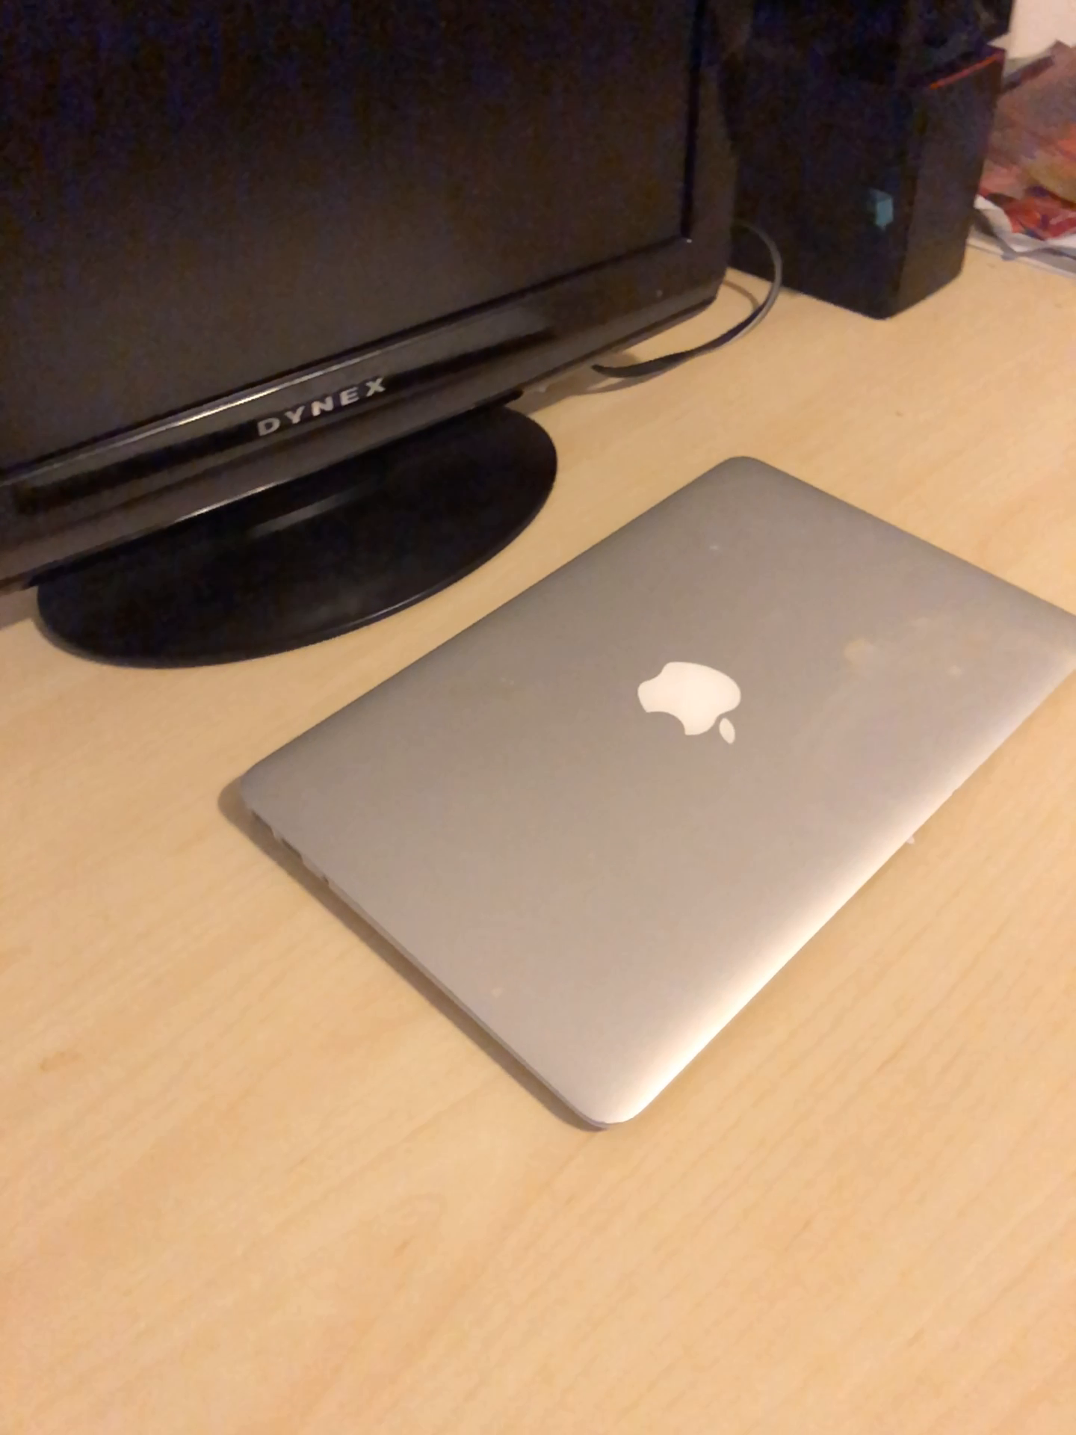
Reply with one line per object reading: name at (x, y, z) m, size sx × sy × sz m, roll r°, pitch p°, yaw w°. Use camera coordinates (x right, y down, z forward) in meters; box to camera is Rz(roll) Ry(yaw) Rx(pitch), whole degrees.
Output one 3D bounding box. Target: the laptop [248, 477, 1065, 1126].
laptop at (0.055, 0.001, 0.460) m, size 0.181 × 0.005 × 0.279 m, roll 35°, pitch 54°, yaw 29°
